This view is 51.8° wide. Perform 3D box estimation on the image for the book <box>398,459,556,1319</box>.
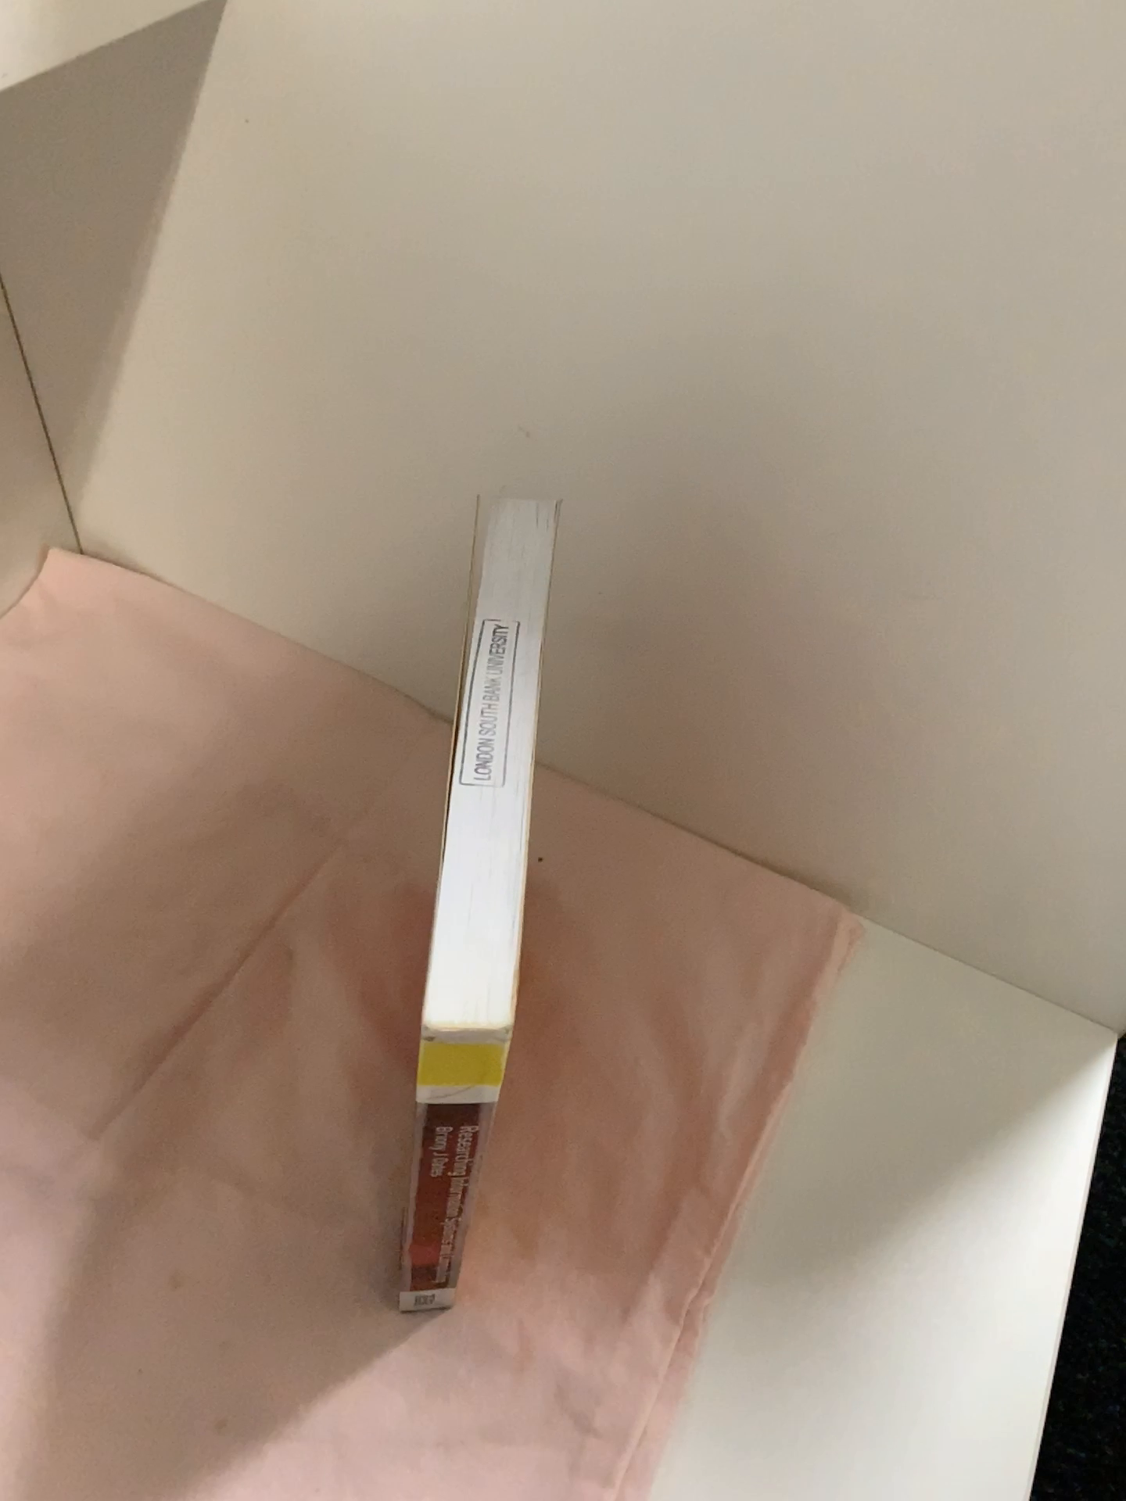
[{"bbox_3d":[-0.032,0.058,0.407,0.026,0.238,0.203,6,50,-4],"label":"book"}]
